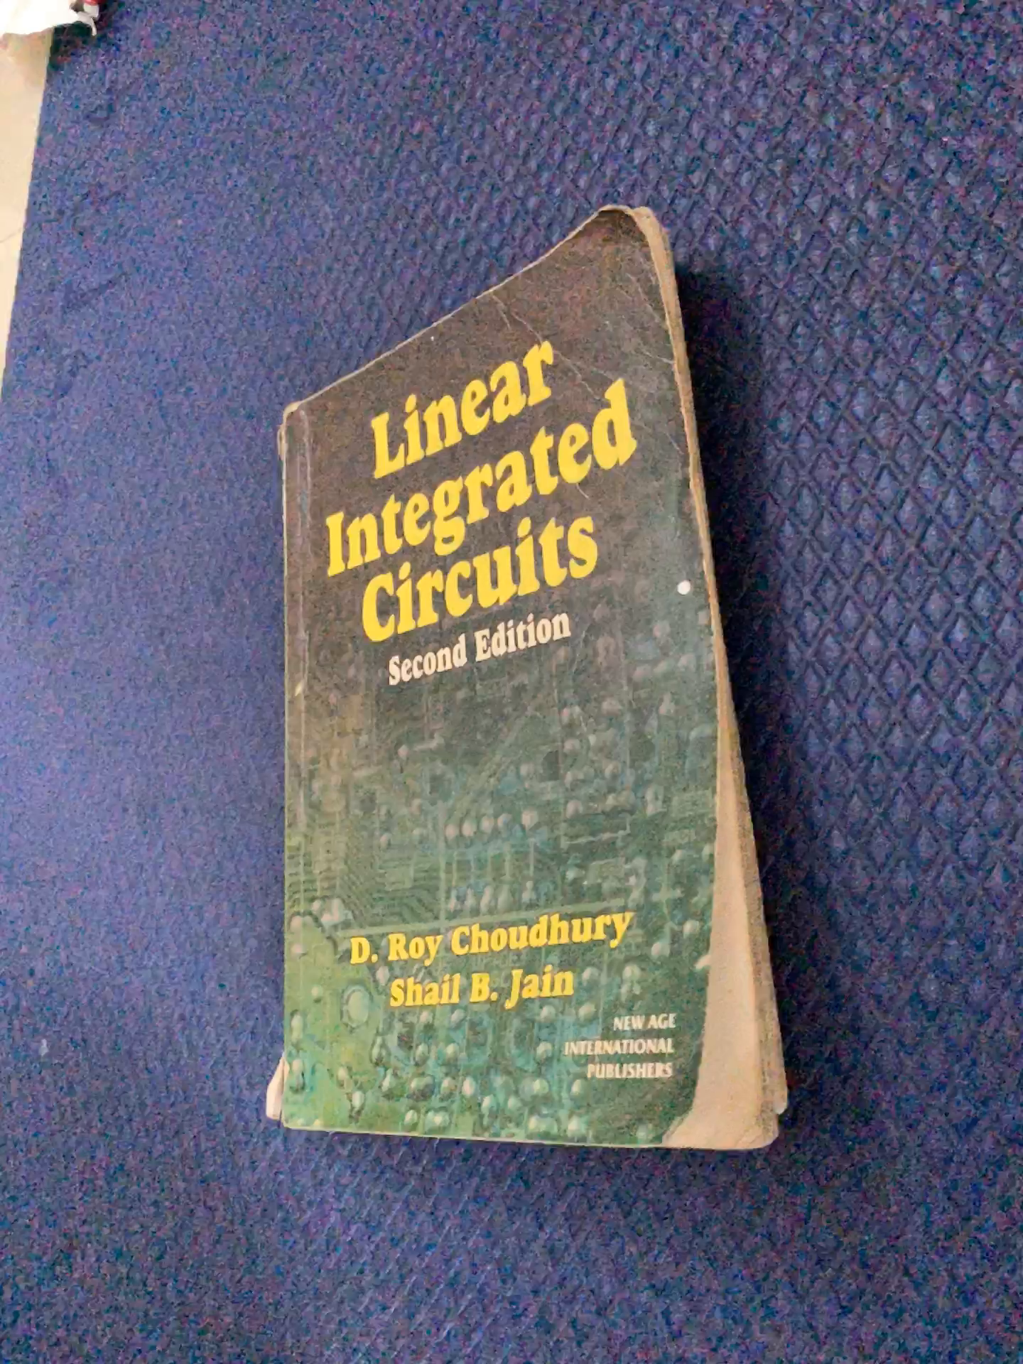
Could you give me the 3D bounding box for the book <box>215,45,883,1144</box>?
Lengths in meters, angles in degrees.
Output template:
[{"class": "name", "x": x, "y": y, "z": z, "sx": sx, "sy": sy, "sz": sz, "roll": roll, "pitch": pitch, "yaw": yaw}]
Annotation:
[{"class": "book", "x": -0.010, "y": -0.016, "z": 0.316, "sx": 0.191, "sy": 0.040, "sz": 0.270, "roll": -15, "pitch": 71, "yaw": 36}]
